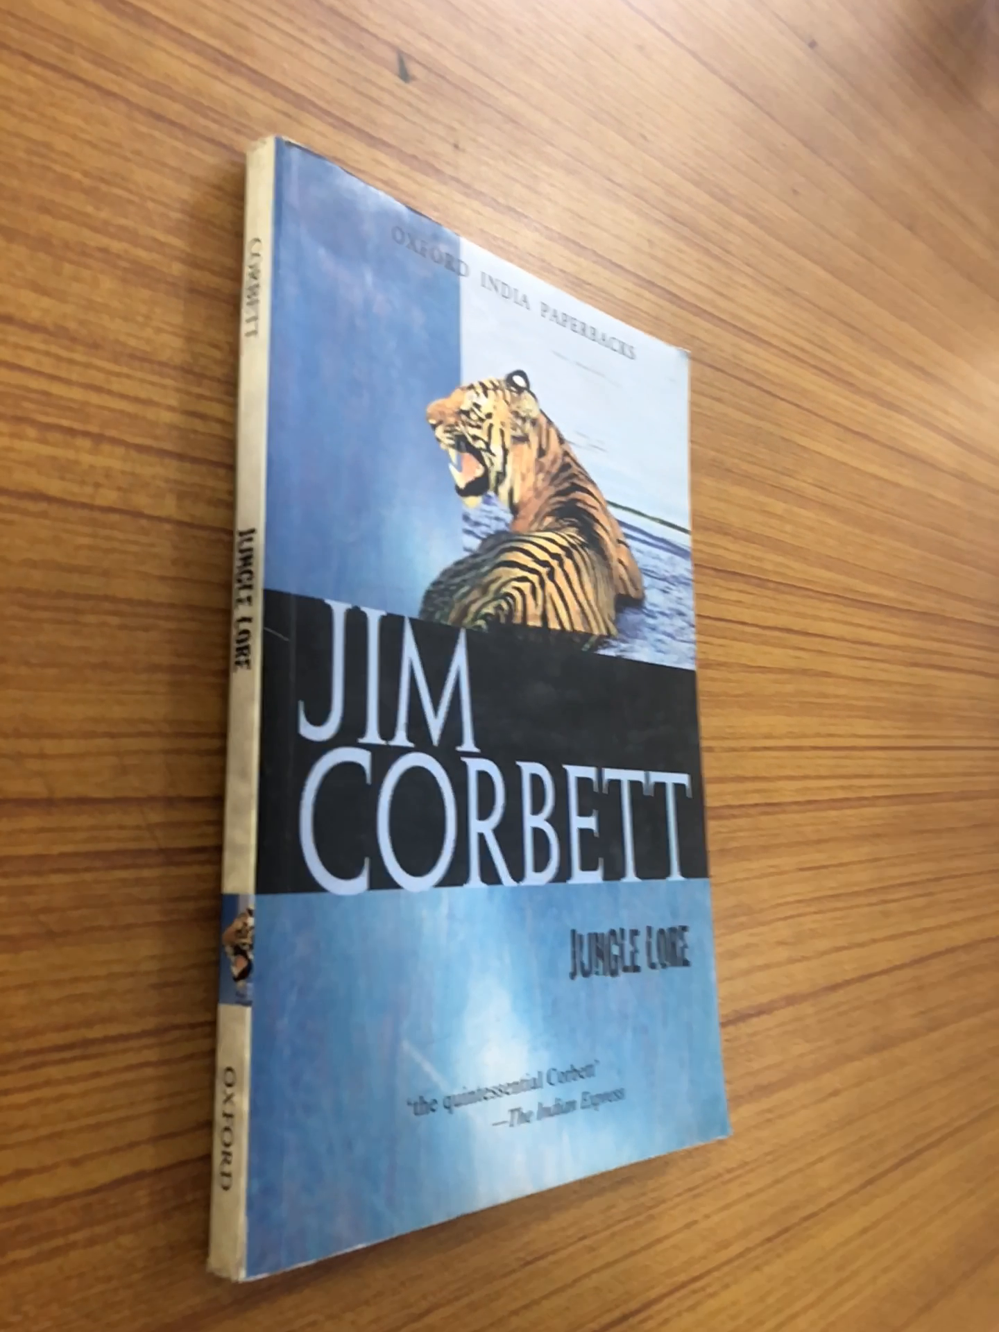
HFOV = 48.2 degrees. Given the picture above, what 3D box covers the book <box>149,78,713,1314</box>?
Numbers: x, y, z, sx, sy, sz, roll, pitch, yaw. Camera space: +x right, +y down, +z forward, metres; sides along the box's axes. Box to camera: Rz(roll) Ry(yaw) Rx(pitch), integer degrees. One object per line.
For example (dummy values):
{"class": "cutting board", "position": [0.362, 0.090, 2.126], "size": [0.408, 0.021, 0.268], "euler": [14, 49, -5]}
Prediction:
{"class": "book", "position": [-0.003, 0.004, 0.253], "size": [0.151, 0.010, 0.220], "euler": [9, 76, -45]}
